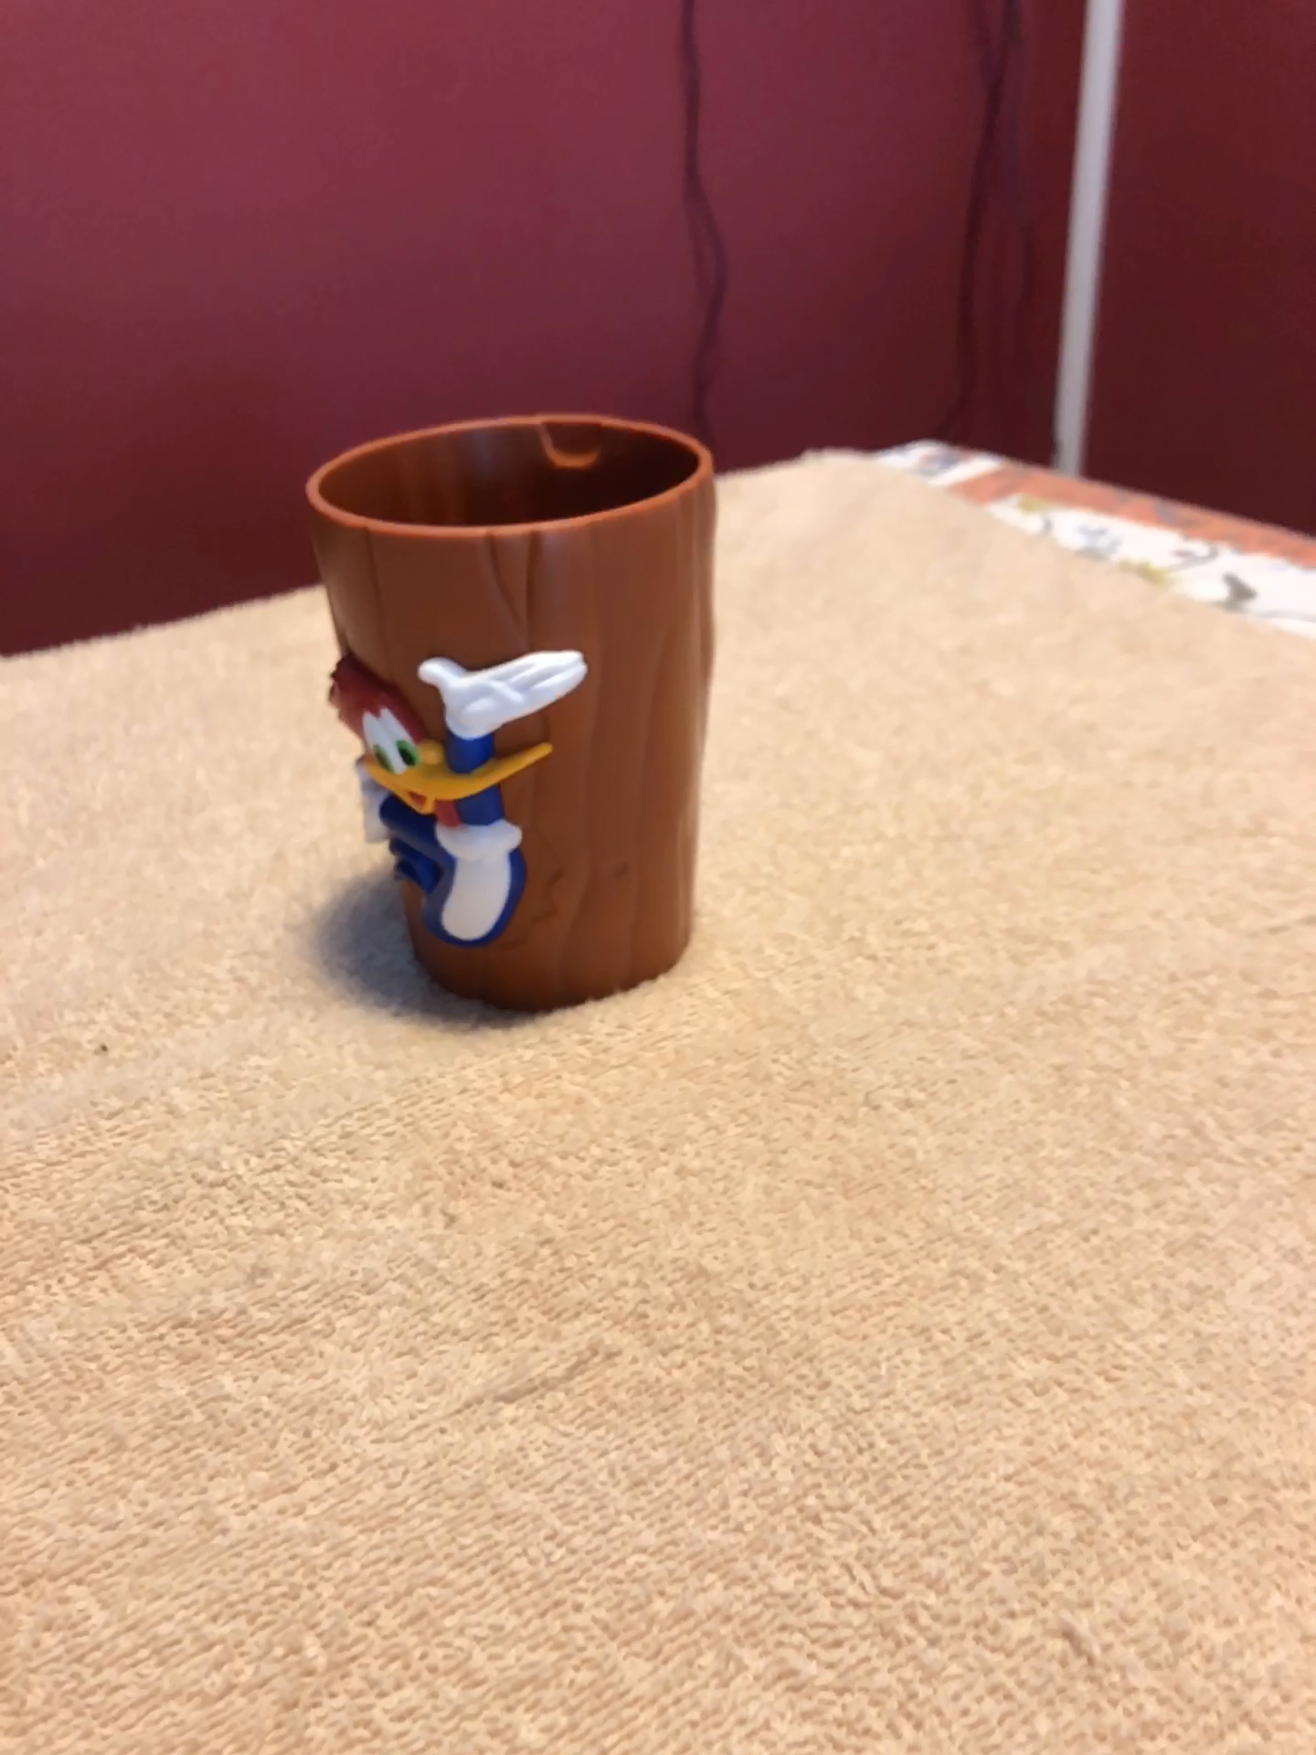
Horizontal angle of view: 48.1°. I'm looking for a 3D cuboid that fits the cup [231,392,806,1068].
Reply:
[{"bbox_3d":[-0.022,-0.038,0.320,0.080,0.109,0.091,11,32,23],"label":"cup"}]
